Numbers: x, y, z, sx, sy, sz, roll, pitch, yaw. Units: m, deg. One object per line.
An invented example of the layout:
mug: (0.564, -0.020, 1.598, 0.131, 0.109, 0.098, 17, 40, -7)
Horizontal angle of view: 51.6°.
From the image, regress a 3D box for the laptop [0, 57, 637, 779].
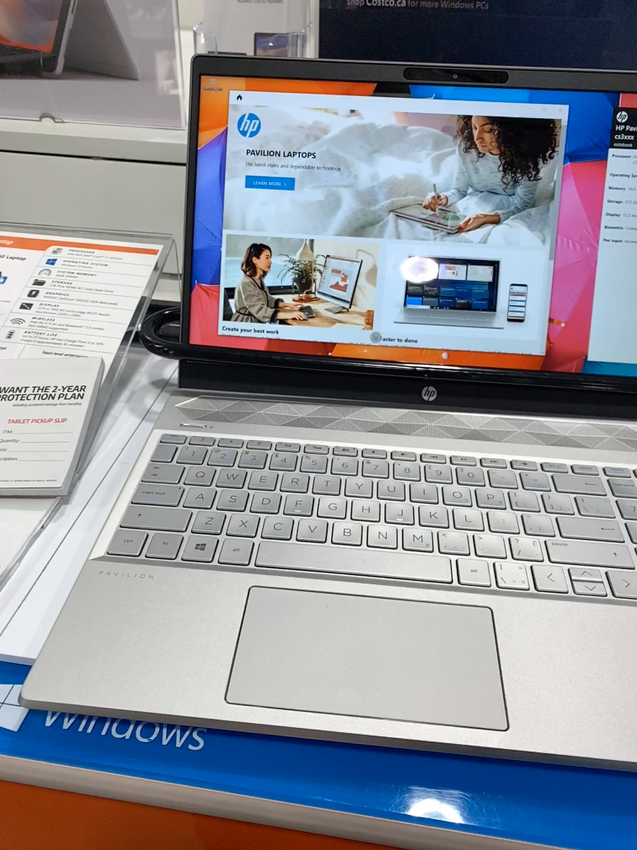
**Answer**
laptop: (0.070, -0.054, 0.327, 0.332, 0.175, 0.335, 4, 36, 3)
